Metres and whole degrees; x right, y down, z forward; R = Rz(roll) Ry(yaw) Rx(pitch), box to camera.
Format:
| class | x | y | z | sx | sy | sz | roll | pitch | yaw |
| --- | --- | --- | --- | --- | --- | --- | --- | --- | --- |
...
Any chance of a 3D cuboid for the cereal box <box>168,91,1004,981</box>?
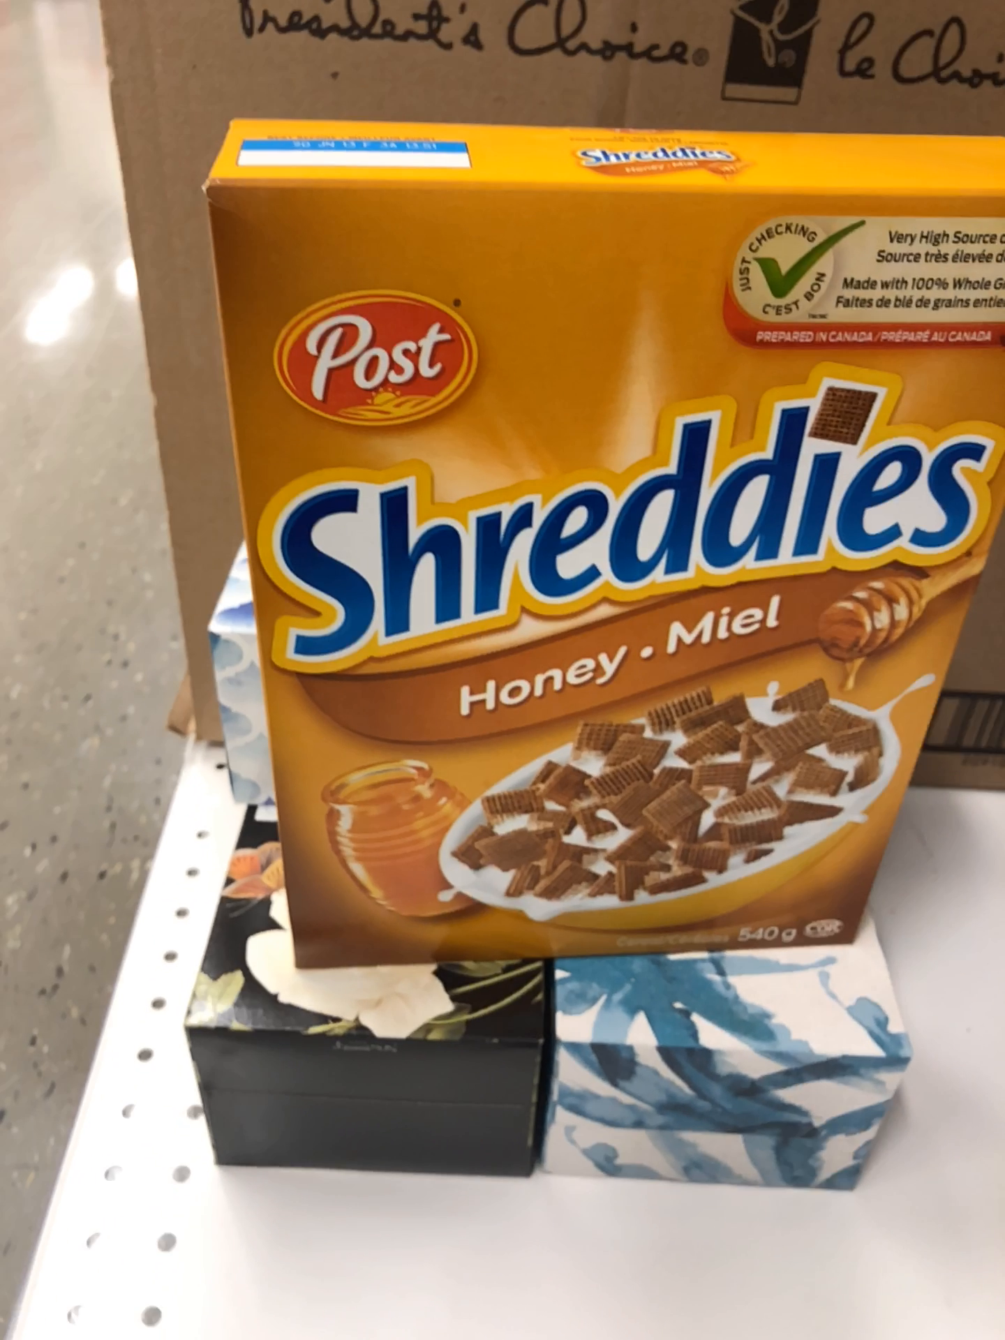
| class | x | y | z | sx | sy | sz | roll | pitch | yaw |
| --- | --- | --- | --- | --- | --- | --- | --- | --- | --- |
| cereal box | 0.034 | -0.021 | 0.337 | 0.220 | 0.259 | 0.060 | -2 | 37 | -6 |
